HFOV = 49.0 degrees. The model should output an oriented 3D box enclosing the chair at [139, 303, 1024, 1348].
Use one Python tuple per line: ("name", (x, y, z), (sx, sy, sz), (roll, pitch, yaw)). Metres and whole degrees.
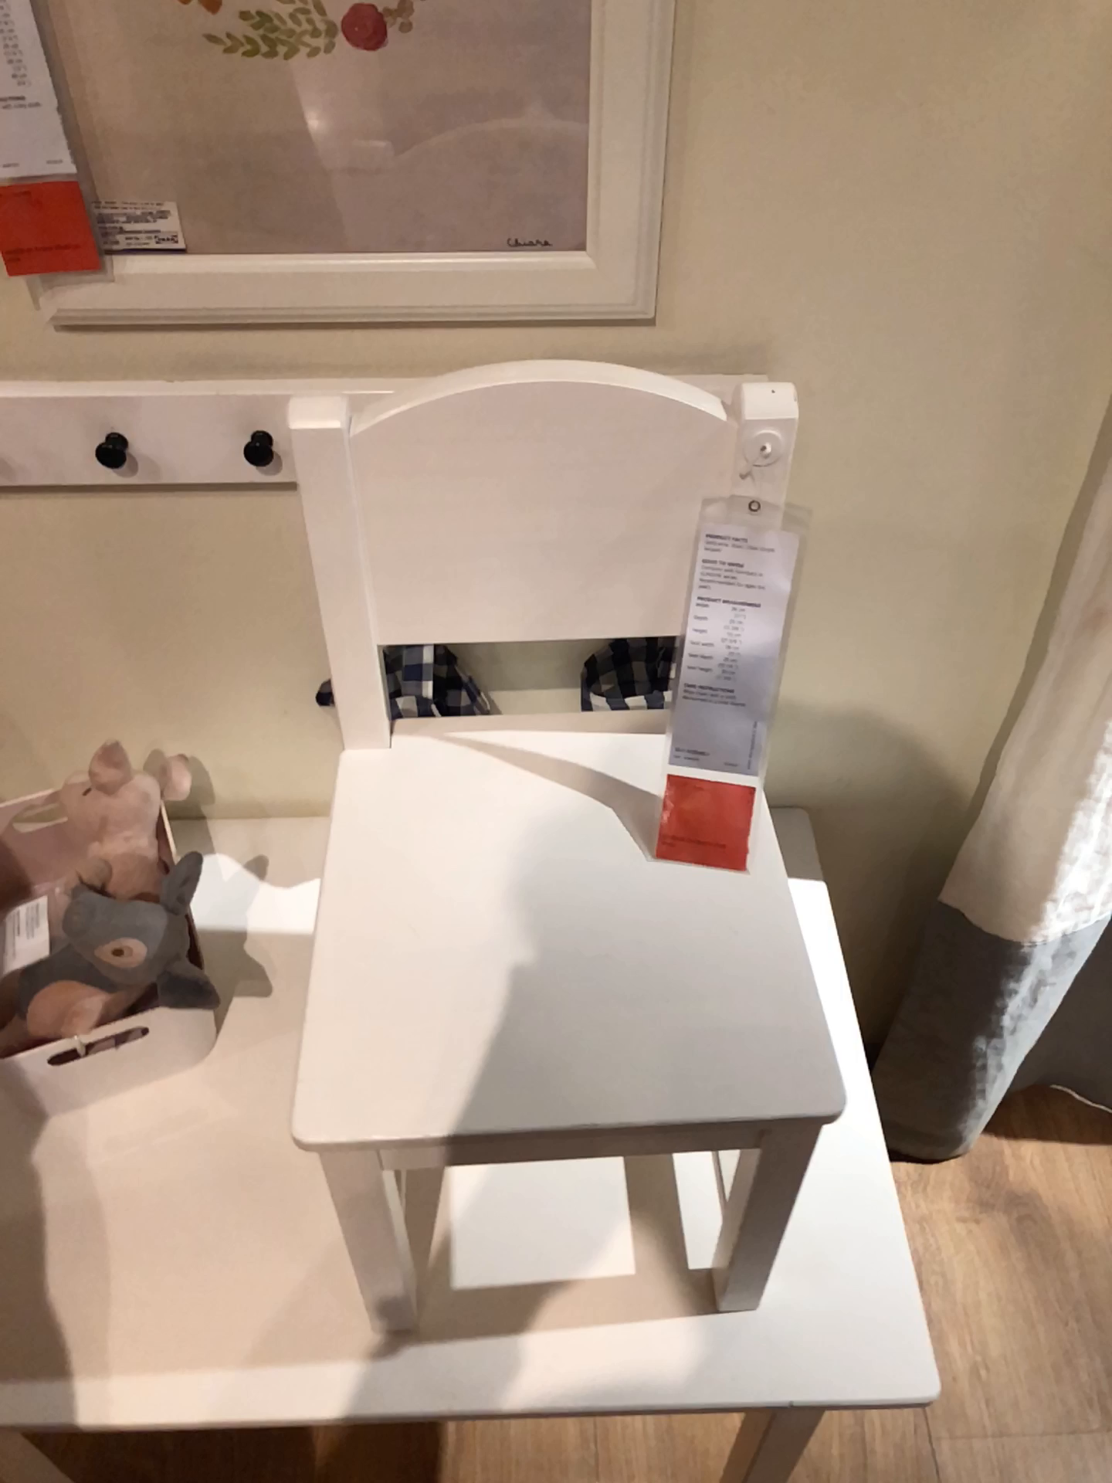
("chair", (0.000, 0.085, 0.724), (0.300, 0.557, 0.322), (-3, 46, -3))
